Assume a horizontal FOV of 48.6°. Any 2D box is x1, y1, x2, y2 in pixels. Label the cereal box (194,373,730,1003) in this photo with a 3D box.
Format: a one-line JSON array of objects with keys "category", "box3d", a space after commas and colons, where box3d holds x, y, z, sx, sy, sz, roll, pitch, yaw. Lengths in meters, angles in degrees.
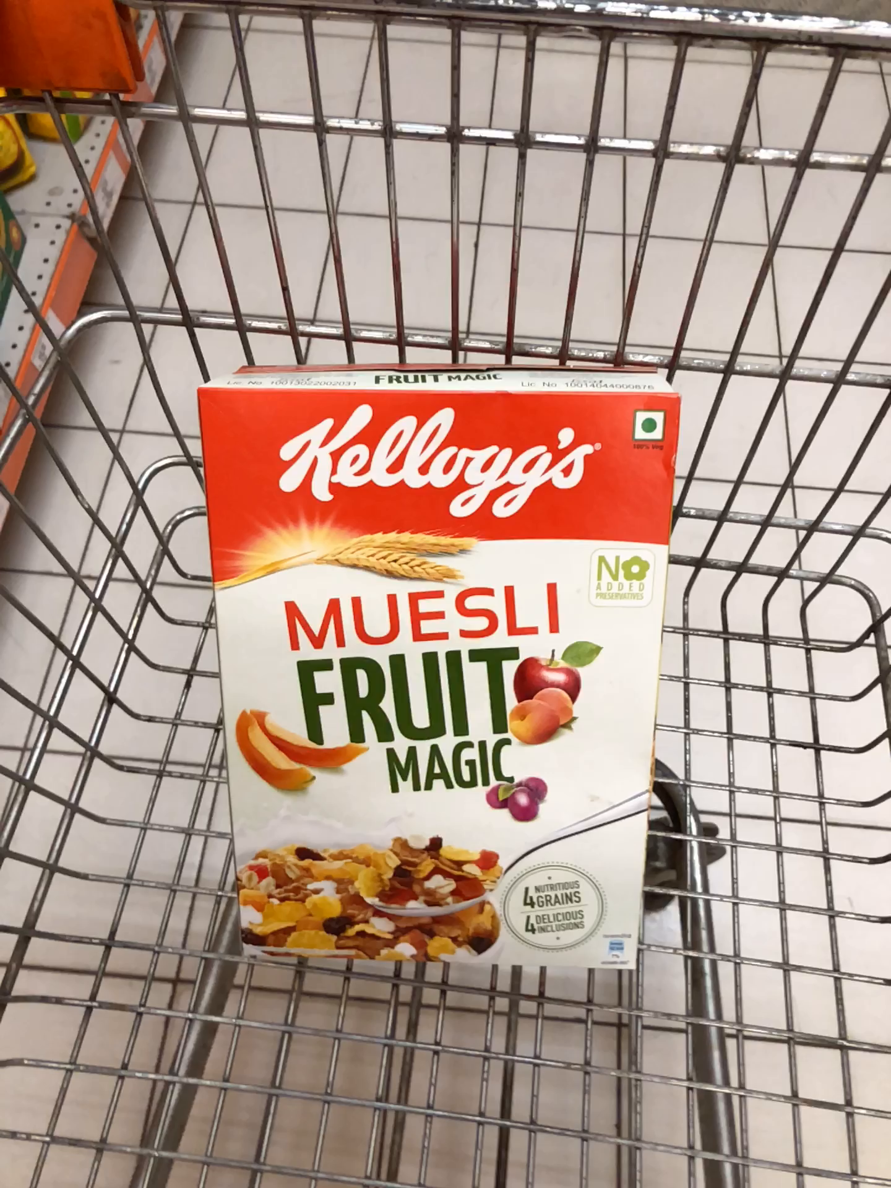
[{"category": "cereal box", "box3d": [0.003, 0.044, 0.449, 0.200, 0.269, 0.080, 2, 18, 0]}]
